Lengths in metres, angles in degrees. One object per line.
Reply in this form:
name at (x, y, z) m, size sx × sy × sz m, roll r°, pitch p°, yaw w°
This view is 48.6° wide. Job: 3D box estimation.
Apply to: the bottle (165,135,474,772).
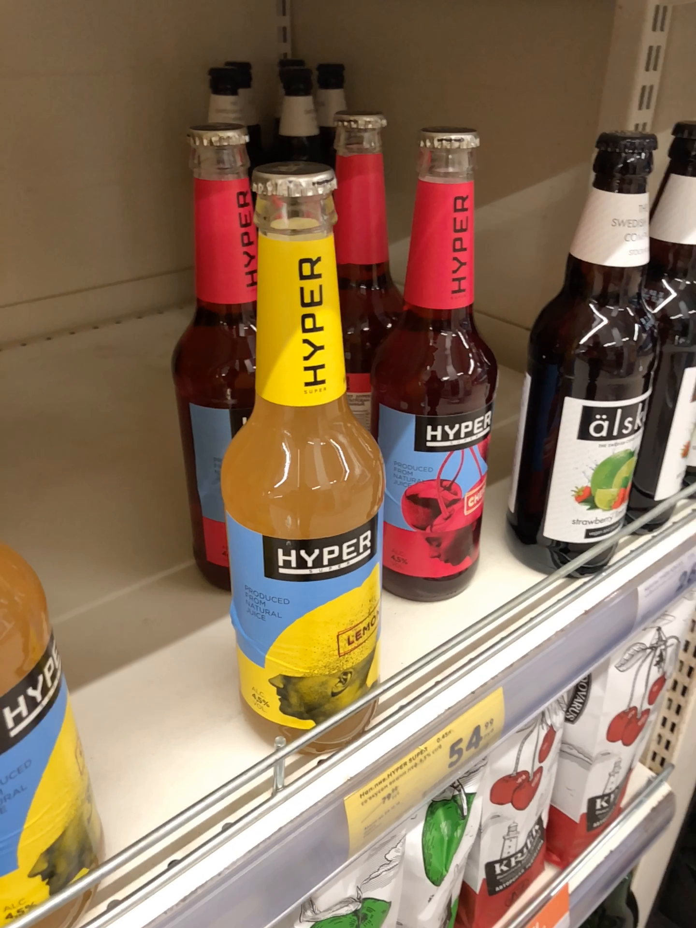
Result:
bottle at (-0.013, 0.001, 0.314) m, size 0.080 × 0.239 × 0.080 m, roll 0°, pitch 30°, yaw 0°
